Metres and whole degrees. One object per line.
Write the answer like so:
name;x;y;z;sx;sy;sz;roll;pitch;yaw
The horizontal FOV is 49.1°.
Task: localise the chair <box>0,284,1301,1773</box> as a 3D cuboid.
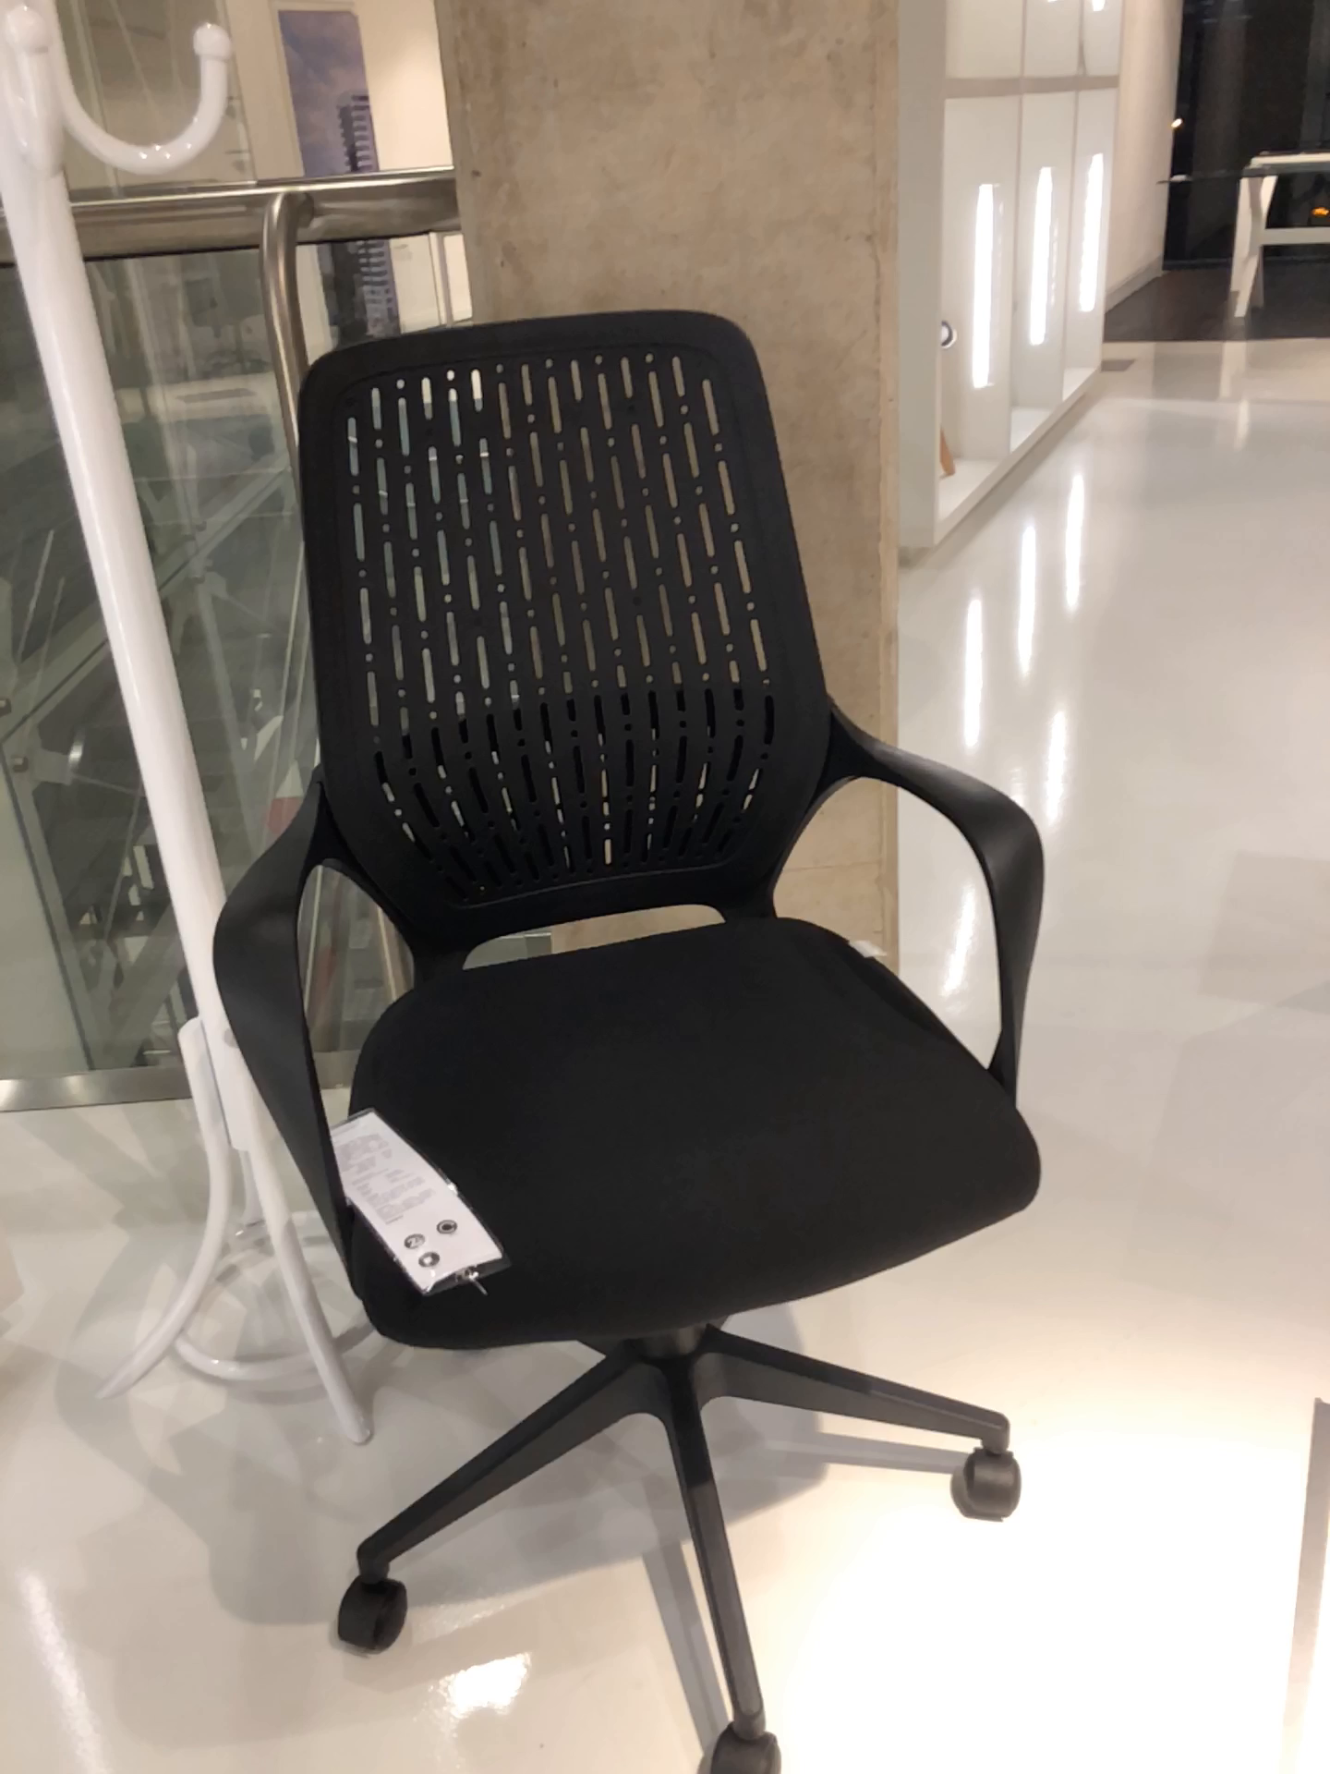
chair;-0.039;0.111;1.193;0.640;1.022;0.705;-9;27;-8
